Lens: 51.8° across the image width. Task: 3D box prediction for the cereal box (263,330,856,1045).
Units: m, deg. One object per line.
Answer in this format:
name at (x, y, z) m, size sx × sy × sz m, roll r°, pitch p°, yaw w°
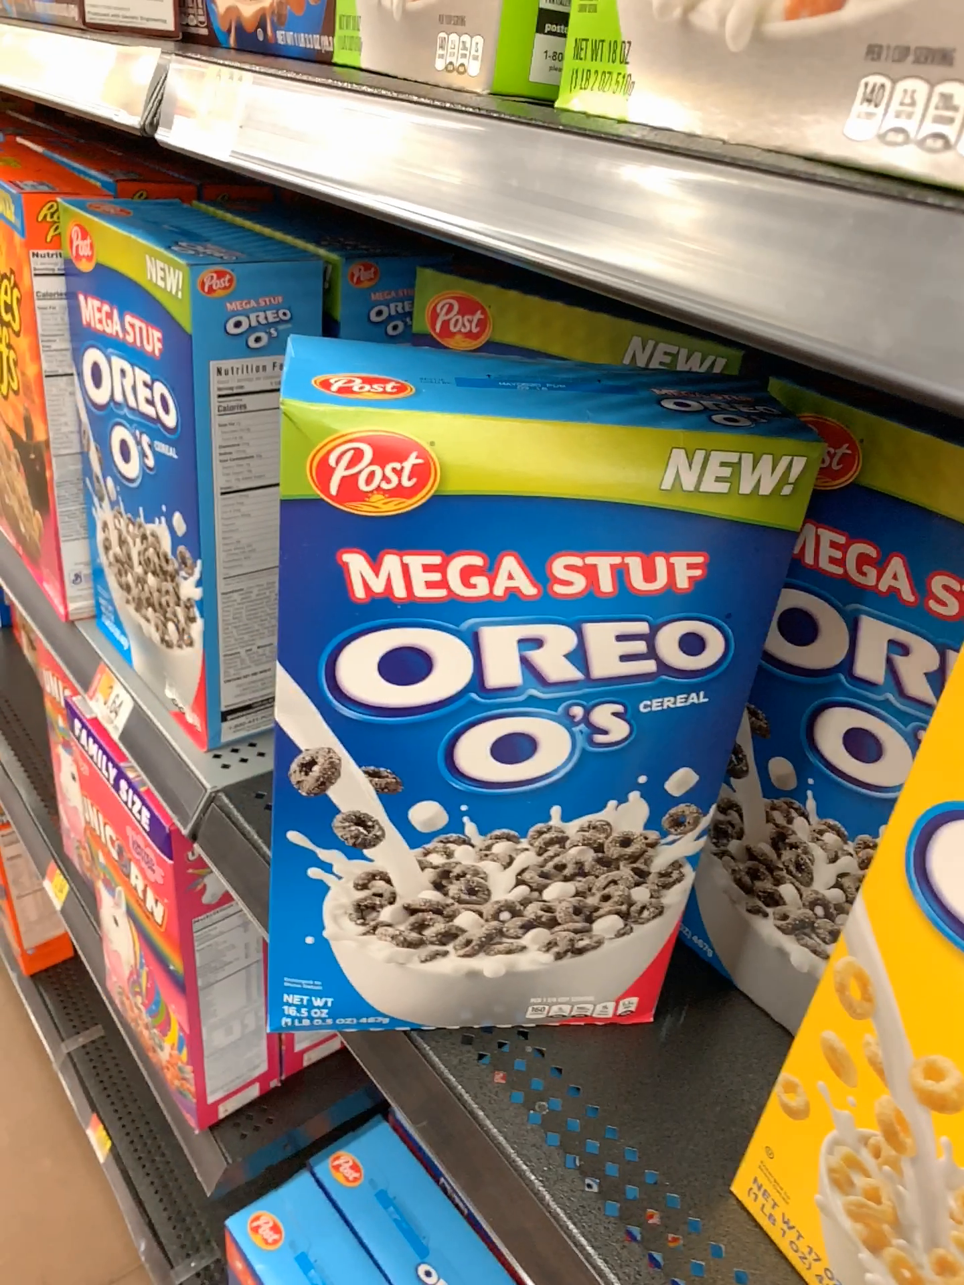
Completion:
cereal box at (0.009, 0.041, 0.460) m, size 0.210 × 0.328 × 0.080 m, roll 2°, pitch 31°, yaw -10°
